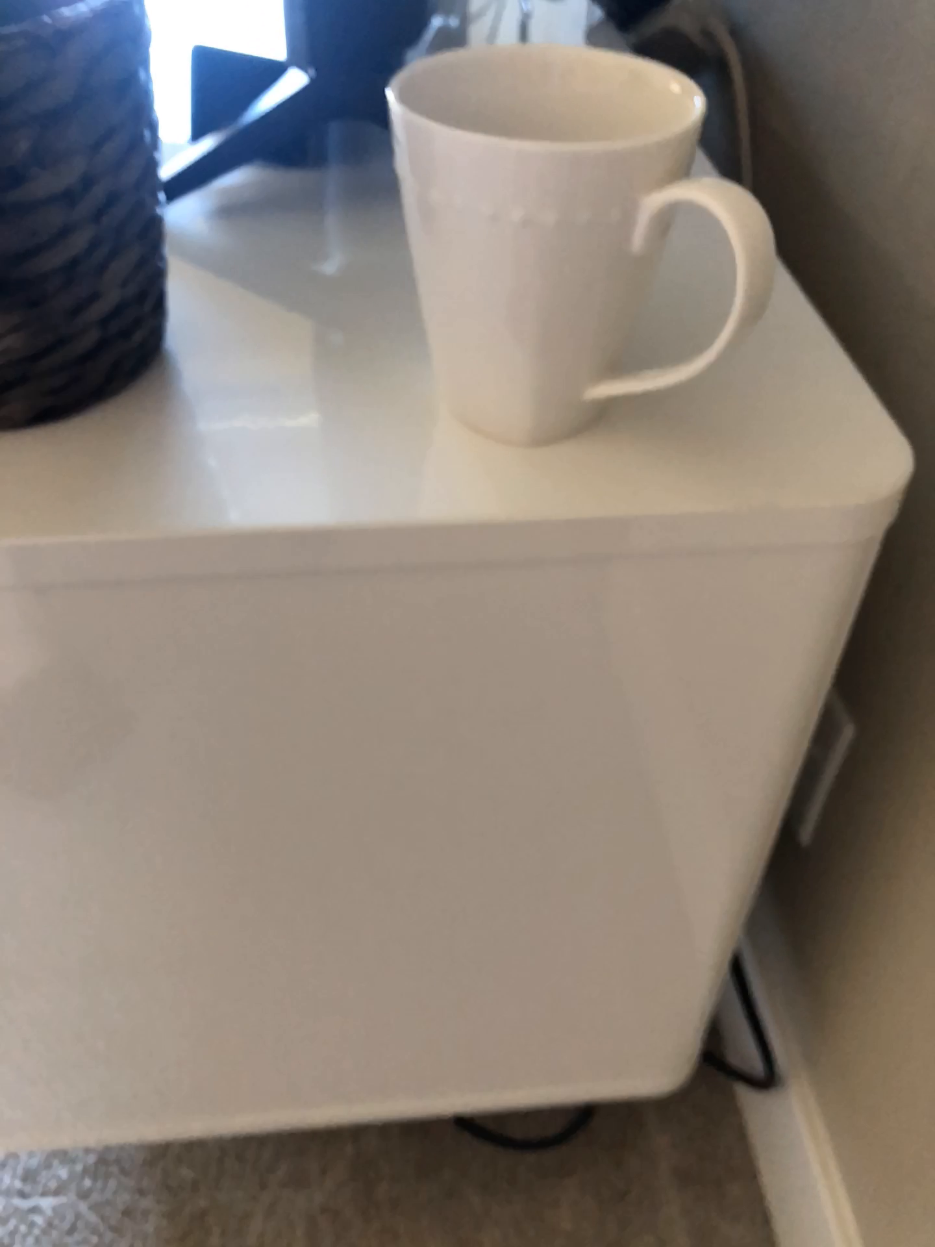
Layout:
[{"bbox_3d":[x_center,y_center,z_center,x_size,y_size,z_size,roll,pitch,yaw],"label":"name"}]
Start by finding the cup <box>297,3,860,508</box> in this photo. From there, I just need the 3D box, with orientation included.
[{"bbox_3d":[0.026,-0.119,0.324,0.090,0.090,0.130,-30,51,-30],"label":"cup"}]
